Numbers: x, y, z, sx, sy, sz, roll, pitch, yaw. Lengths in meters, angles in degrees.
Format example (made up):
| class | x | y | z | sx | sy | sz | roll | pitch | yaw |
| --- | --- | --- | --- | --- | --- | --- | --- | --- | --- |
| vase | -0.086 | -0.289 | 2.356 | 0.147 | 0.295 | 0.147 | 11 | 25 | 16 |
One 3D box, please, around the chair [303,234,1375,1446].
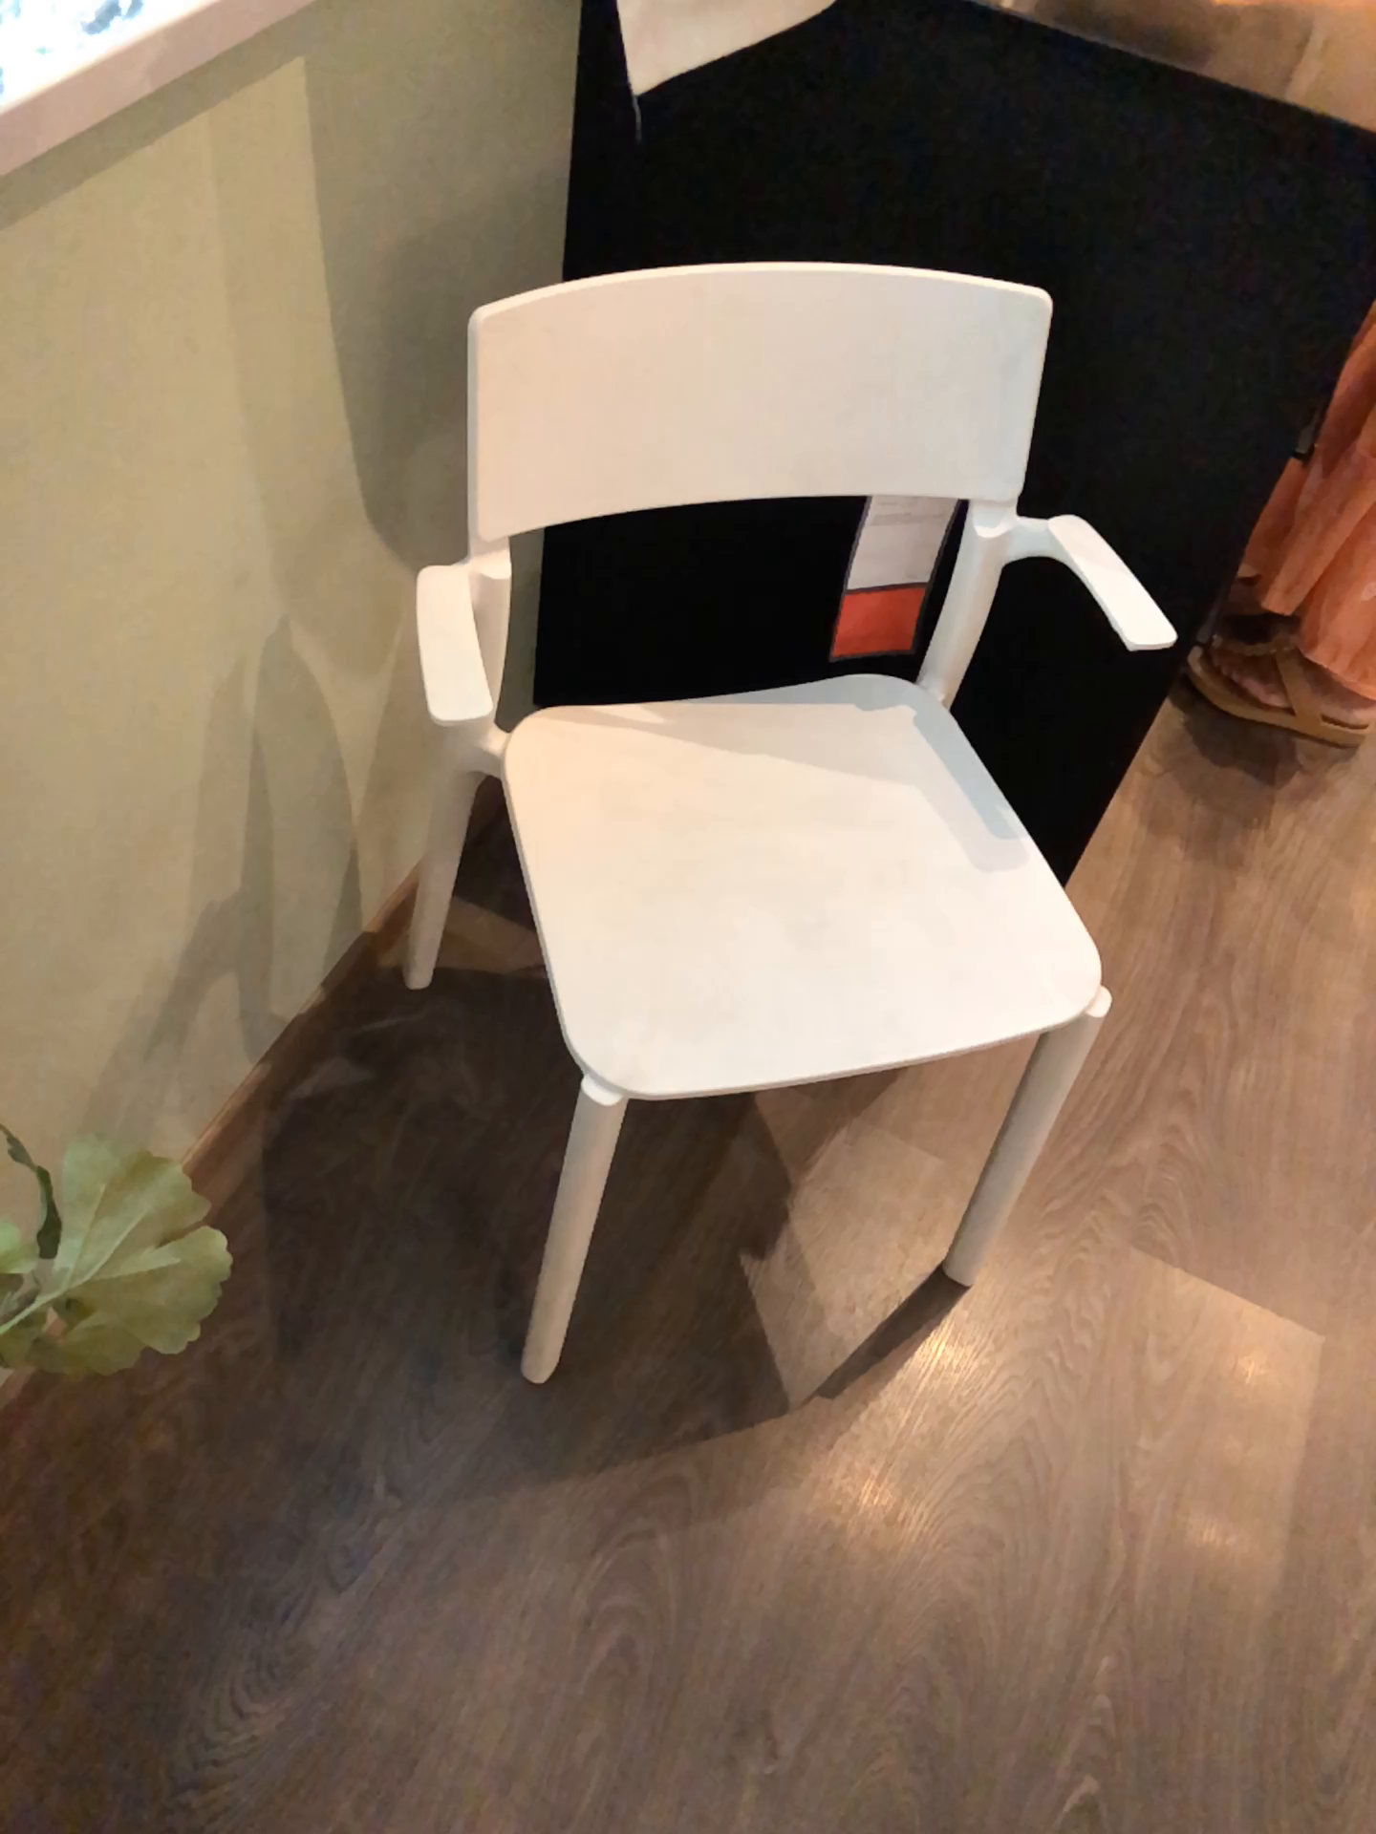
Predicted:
| class | x | y | z | sx | sy | sz | roll | pitch | yaw |
| --- | --- | --- | --- | --- | --- | --- | --- | --- | --- |
| chair | 0.035 | -0.042 | 1.249 | 0.560 | 0.756 | 0.583 | -9 | 53 | -15 |
